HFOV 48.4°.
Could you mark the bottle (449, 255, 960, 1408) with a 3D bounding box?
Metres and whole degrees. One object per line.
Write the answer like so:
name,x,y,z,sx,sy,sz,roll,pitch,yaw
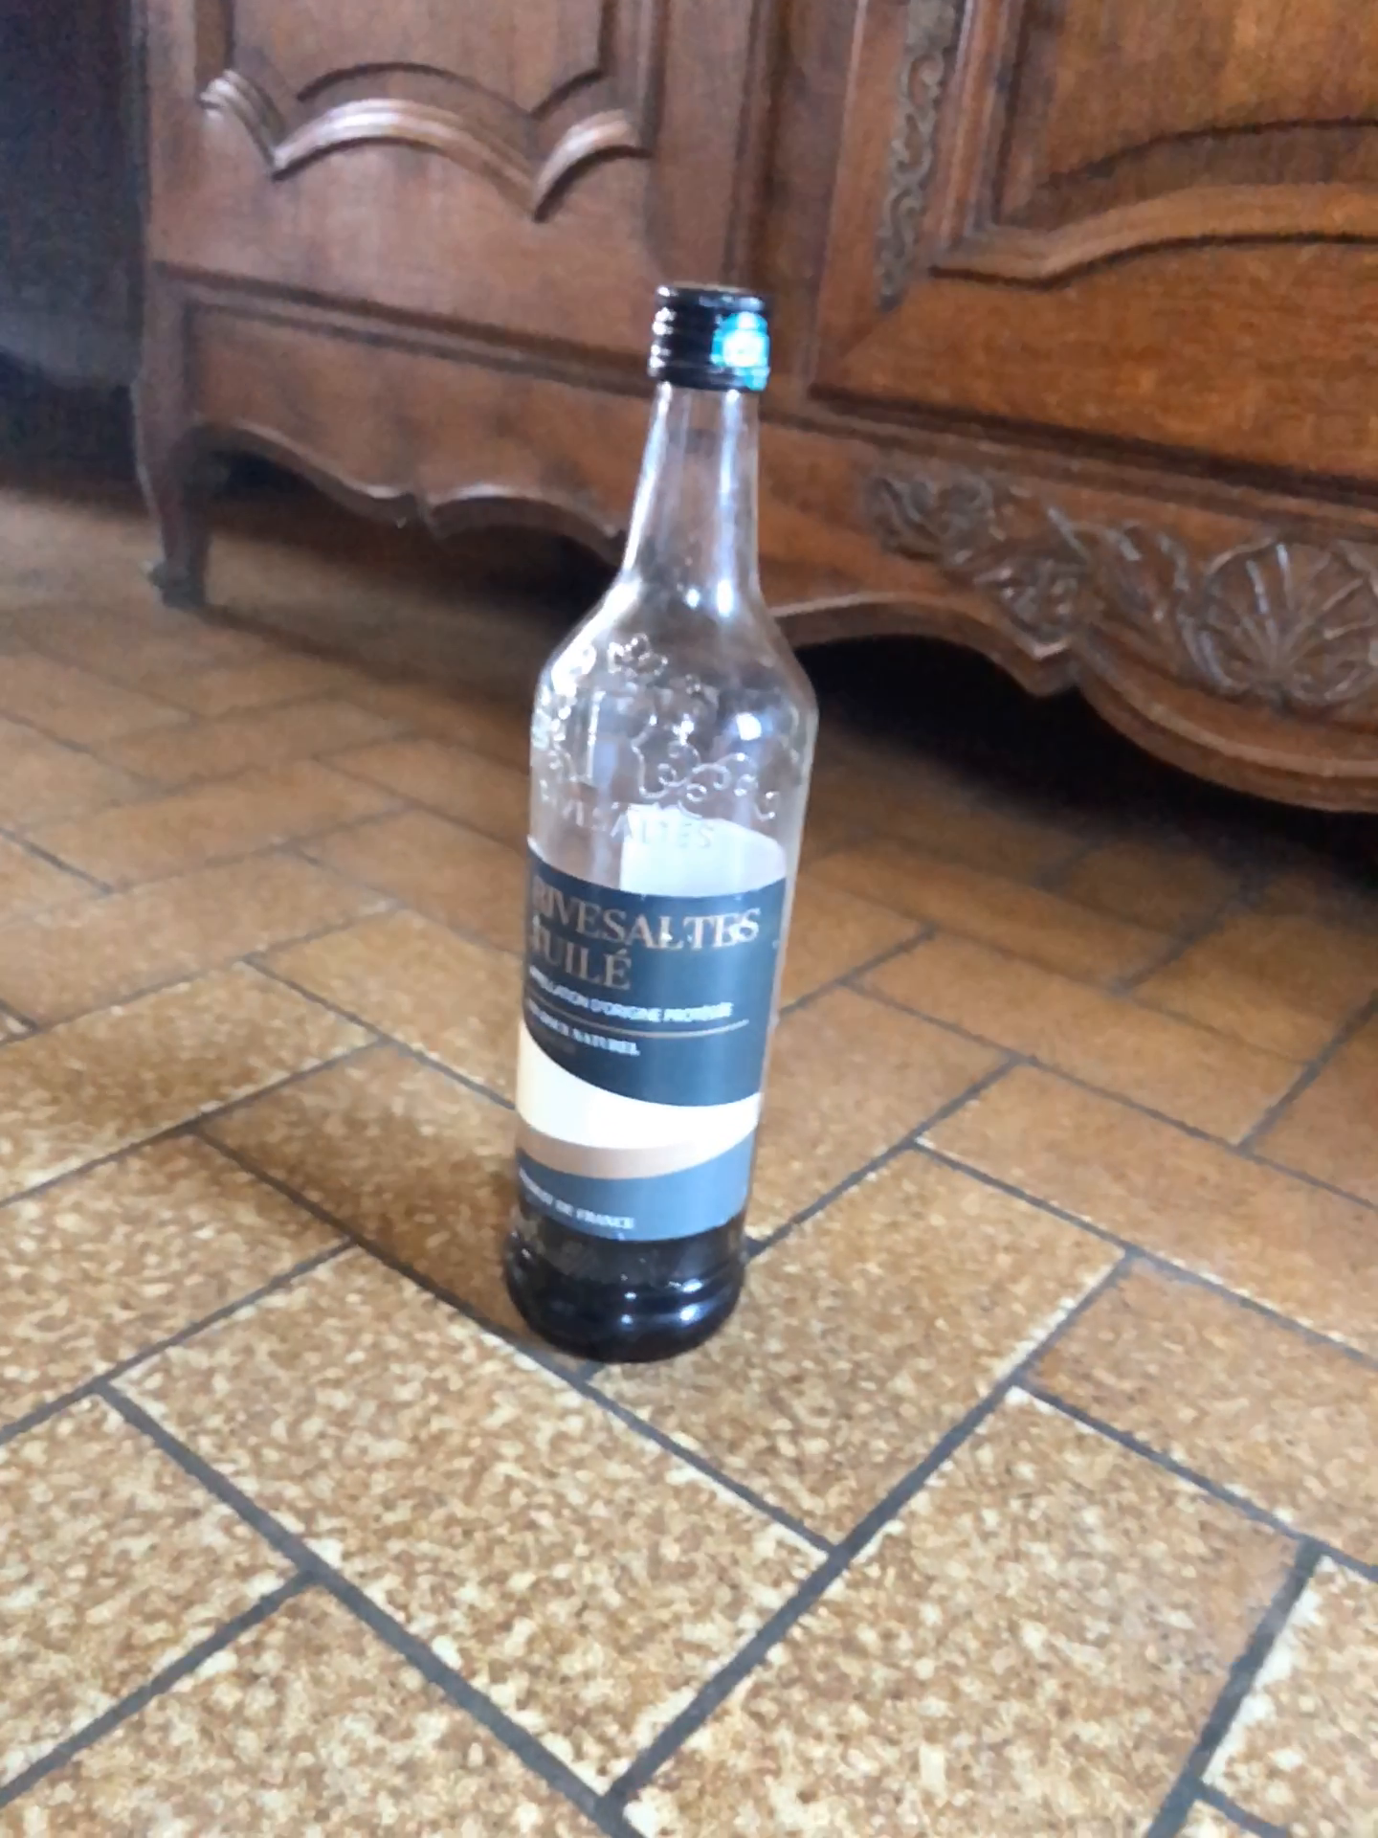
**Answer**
bottle,-0.001,-0.021,0.436,0.090,0.298,0.091,5,24,-2
